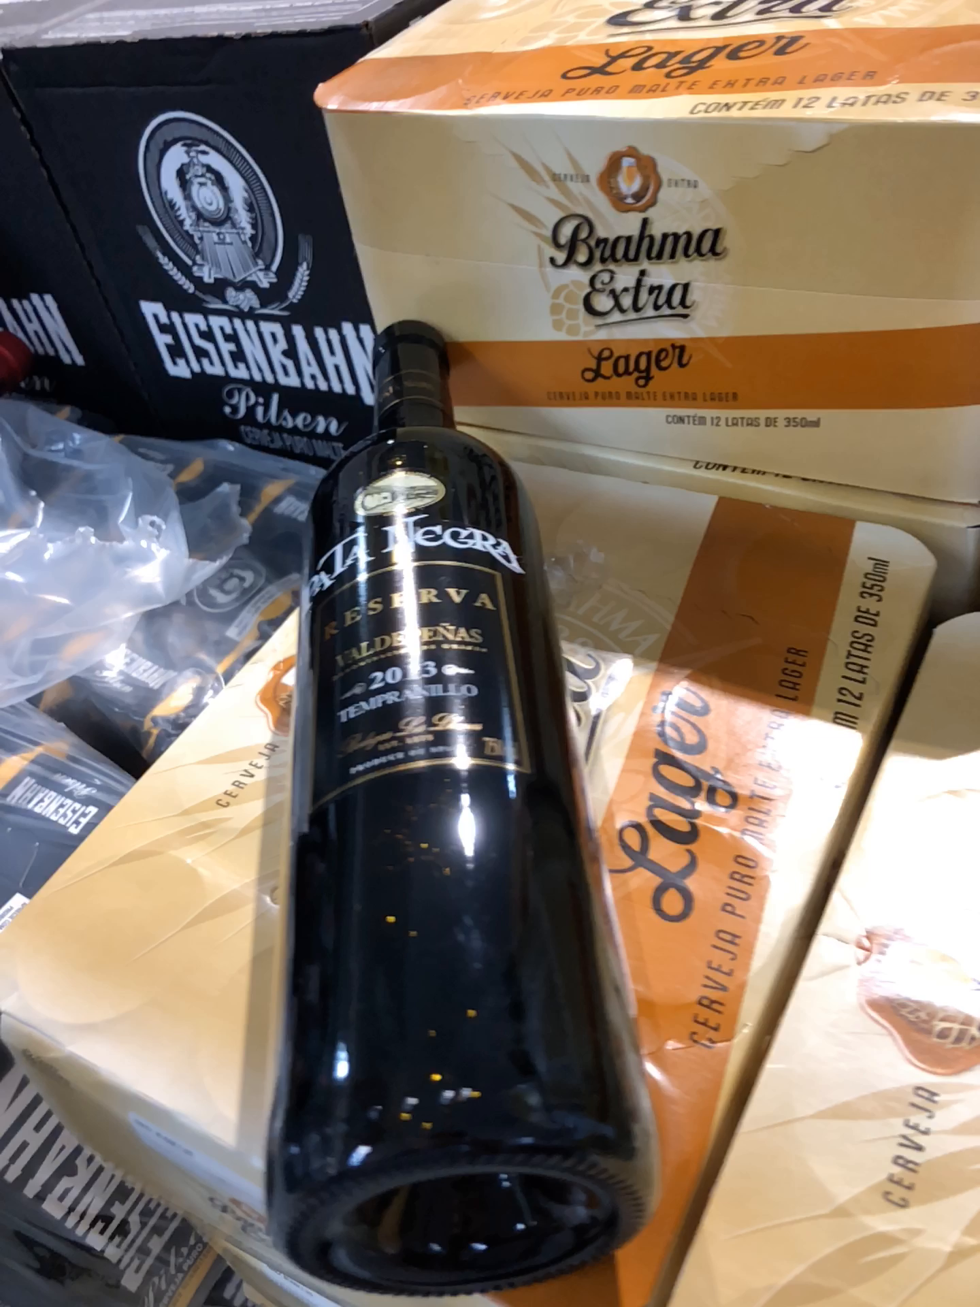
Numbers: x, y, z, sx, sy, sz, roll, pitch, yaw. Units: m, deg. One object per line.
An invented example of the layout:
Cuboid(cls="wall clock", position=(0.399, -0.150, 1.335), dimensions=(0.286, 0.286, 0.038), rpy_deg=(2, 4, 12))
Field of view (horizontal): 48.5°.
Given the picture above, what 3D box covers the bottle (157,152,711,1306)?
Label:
Cuboid(cls="bottle", position=(-0.019, -0.033, 0.325), dimensions=(0.080, 0.079, 0.383), rpy_deg=(-11, 44, 3))
